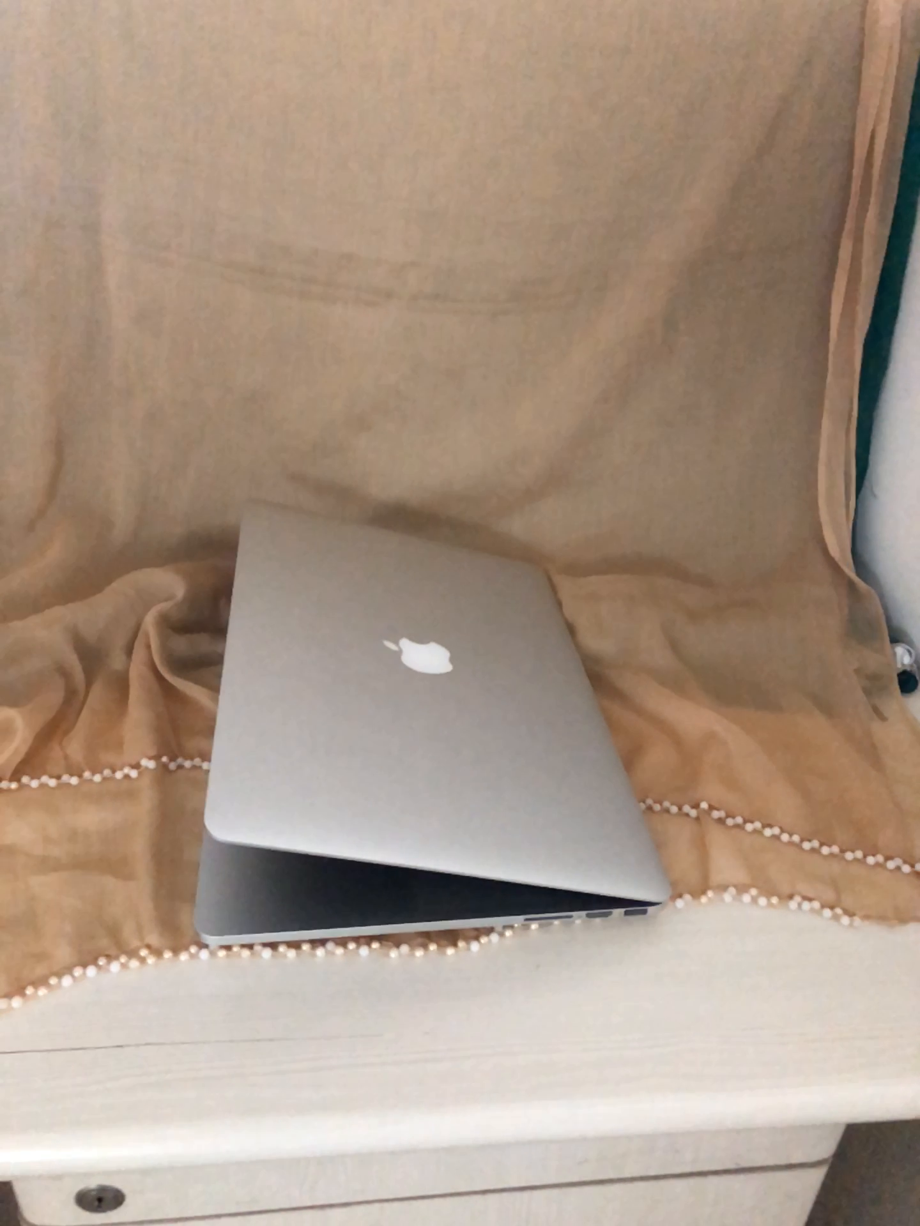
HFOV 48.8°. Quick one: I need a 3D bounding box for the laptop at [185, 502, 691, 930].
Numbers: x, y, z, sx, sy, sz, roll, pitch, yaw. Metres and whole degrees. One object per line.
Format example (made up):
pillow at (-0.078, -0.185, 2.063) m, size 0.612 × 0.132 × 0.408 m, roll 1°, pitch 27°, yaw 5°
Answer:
laptop at (-0.031, 0.034, 0.641) m, size 0.239 × 0.063 × 0.354 m, roll -1°, pitch 31°, yaw -8°
